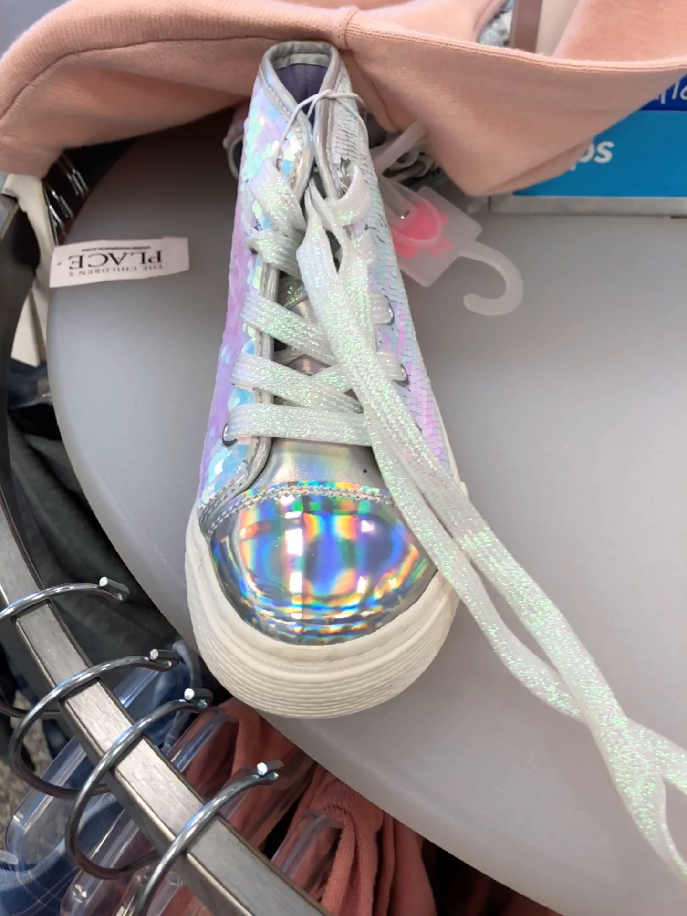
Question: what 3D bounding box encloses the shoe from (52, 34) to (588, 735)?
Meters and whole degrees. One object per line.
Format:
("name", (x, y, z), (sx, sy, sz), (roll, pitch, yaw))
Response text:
("shoe", (-0.005, -0.040, 0.241), (0.090, 0.105, 0.212), (-1, 46, 0))
